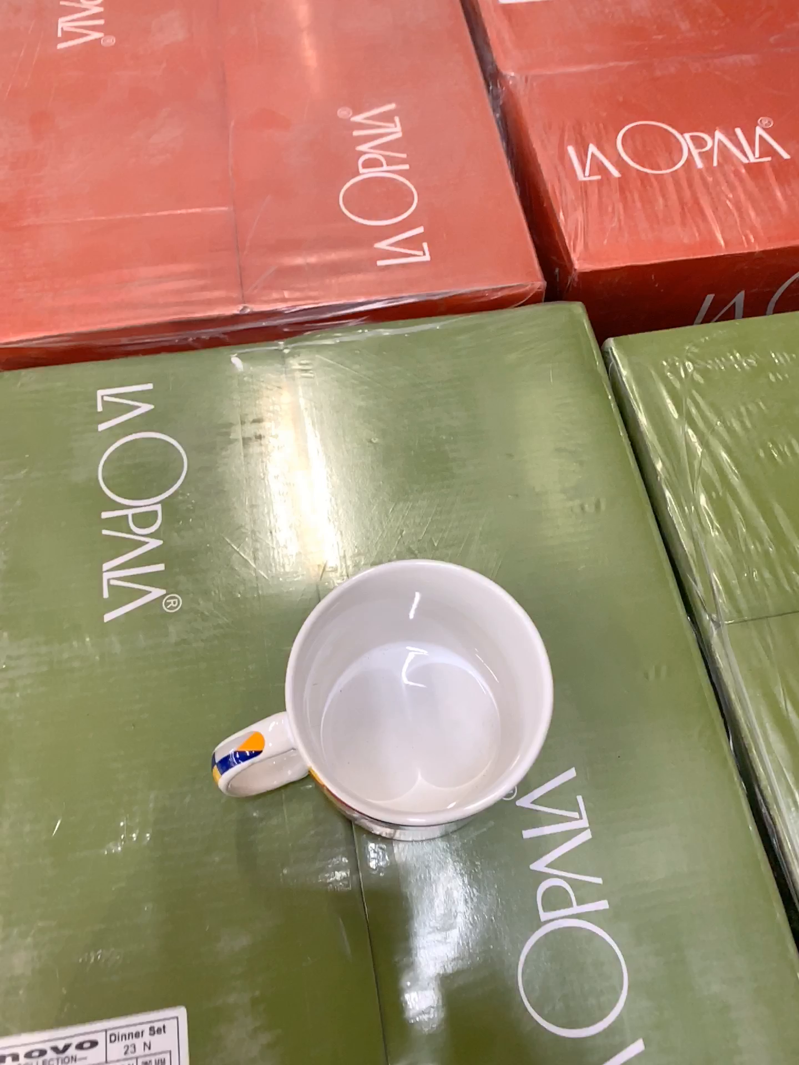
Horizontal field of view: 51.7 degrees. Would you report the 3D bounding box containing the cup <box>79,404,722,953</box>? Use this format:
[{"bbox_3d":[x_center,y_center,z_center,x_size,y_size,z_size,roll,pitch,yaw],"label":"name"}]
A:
[{"bbox_3d":[-0.003,0.047,0.245,0.130,0.100,0.090,-22,67,-12],"label":"cup"}]
